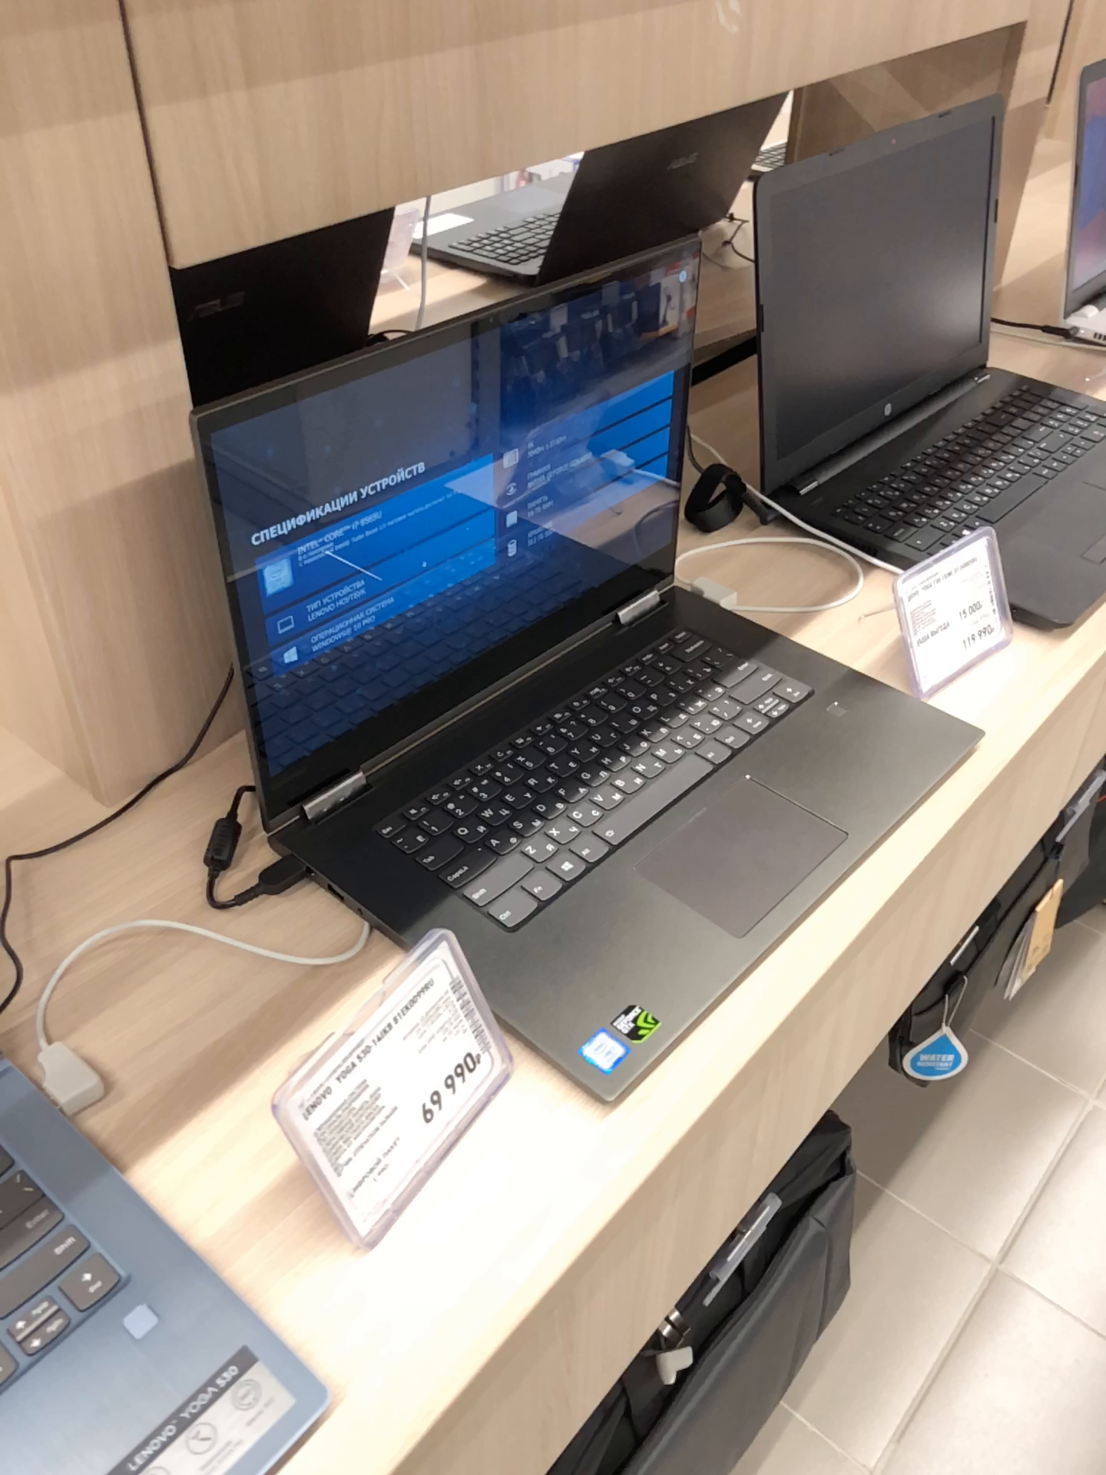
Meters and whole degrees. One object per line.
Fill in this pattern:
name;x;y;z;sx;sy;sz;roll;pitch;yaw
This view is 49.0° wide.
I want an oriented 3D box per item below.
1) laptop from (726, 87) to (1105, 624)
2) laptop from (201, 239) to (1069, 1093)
laptop;0.350;-0.321;0.944;0.306;0.238;0.309;-31;46;-30
laptop;0.051;-0.073;0.654;0.252;0.240;0.359;31;47;32
